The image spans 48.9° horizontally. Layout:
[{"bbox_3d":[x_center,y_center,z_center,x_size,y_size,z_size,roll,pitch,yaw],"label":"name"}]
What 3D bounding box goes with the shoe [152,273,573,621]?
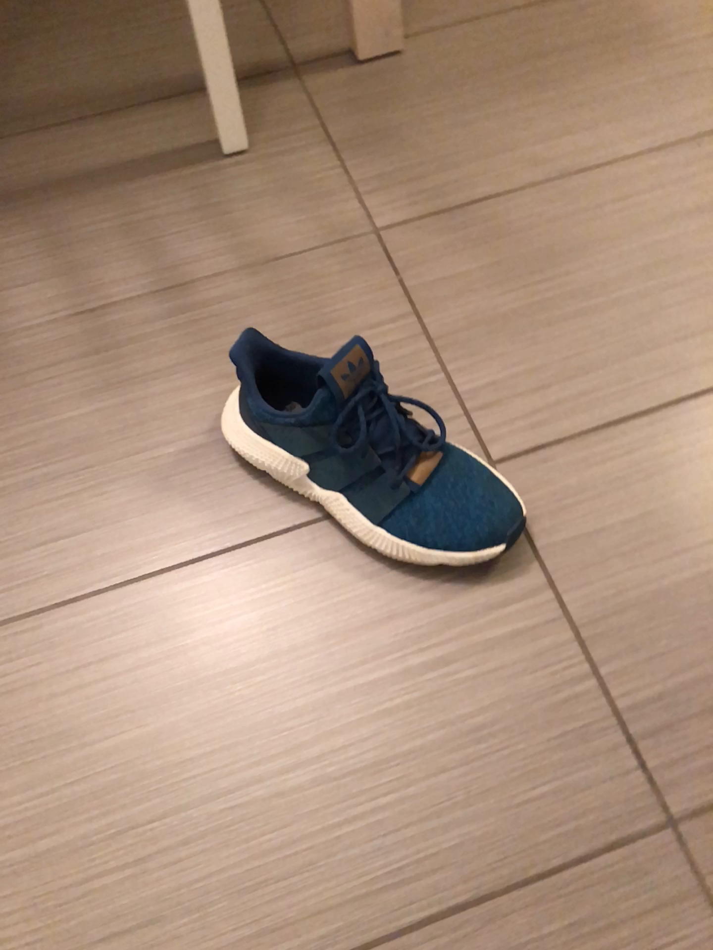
[{"bbox_3d":[0.001,-0.025,0.616,0.290,0.120,0.112,29,66,18],"label":"shoe"}]
